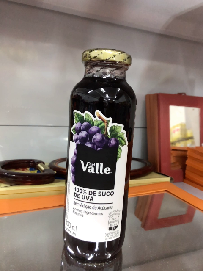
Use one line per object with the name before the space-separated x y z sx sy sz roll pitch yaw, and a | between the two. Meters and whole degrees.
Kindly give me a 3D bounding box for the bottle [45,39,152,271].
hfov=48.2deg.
bottle | -0.004 0.020 0.210 0.070 0.189 0.060 5 8 2
